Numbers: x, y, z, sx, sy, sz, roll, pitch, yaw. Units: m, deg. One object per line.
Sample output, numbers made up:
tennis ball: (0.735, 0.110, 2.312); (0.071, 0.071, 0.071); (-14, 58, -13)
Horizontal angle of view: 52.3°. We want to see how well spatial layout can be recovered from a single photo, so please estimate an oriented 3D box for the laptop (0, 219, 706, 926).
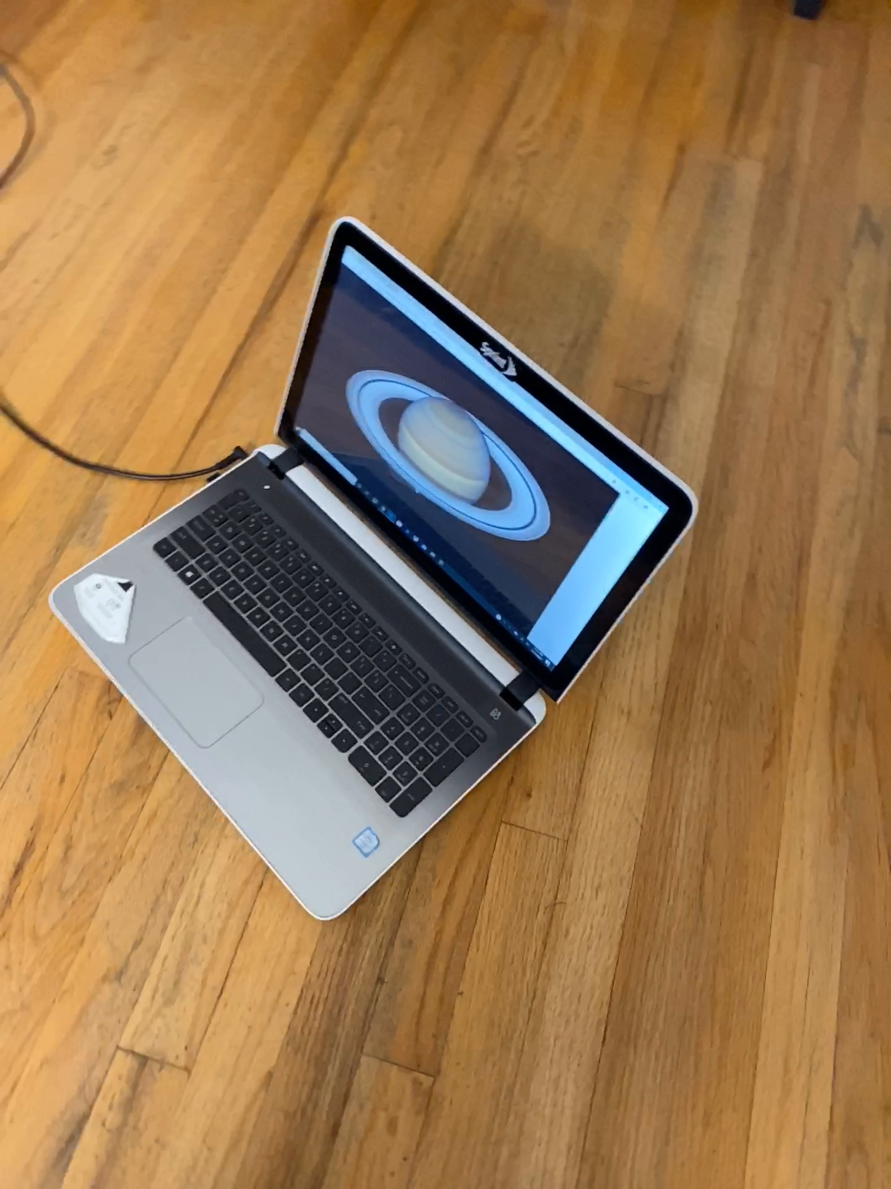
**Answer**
laptop: (-0.085, -0.029, 0.714); (0.364, 0.202, 0.371); (-40, 71, -20)
